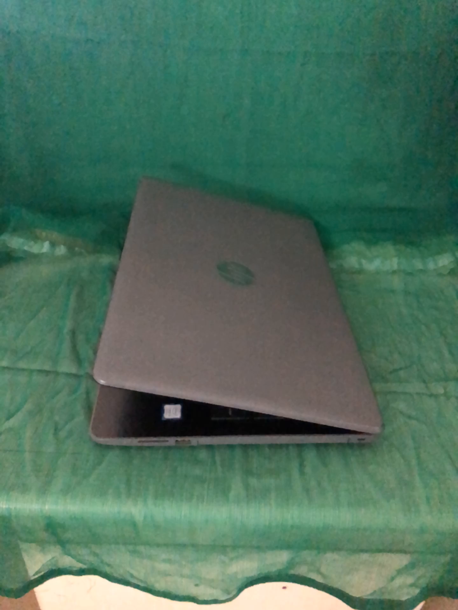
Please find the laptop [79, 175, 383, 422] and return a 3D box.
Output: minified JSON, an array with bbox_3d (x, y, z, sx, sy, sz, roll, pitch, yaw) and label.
[{"bbox_3d":[-0.003,-0.037,0.549,0.231,0.066,0.361,1,37,-2],"label":"laptop"}]
